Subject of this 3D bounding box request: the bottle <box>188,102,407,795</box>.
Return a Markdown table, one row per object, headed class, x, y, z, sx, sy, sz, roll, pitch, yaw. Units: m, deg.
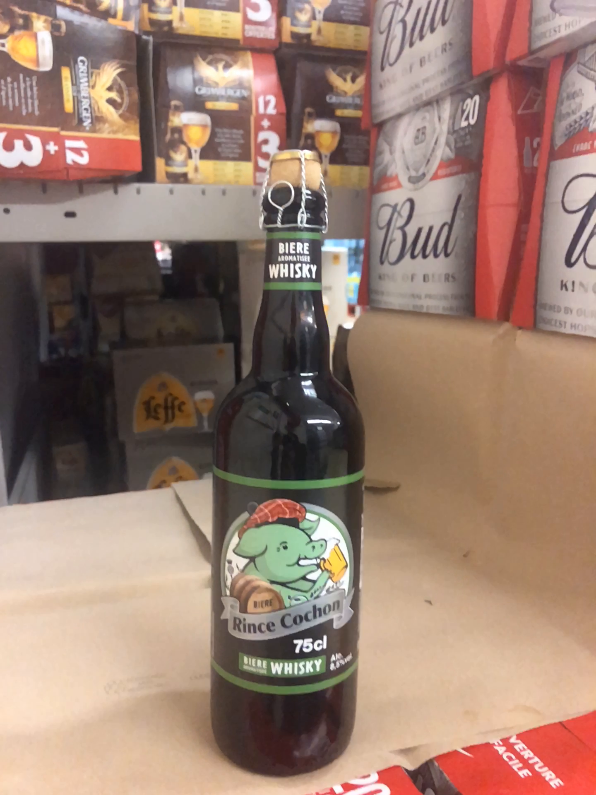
| class | x | y | z | sx | sy | sz | roll | pitch | yaw |
| --- | --- | --- | --- | --- | --- | --- | --- | --- | --- |
| bottle | -0.003 | 0.026 | 0.321 | 0.090 | 0.300 | 0.080 | -2 | 5 | -10 |
